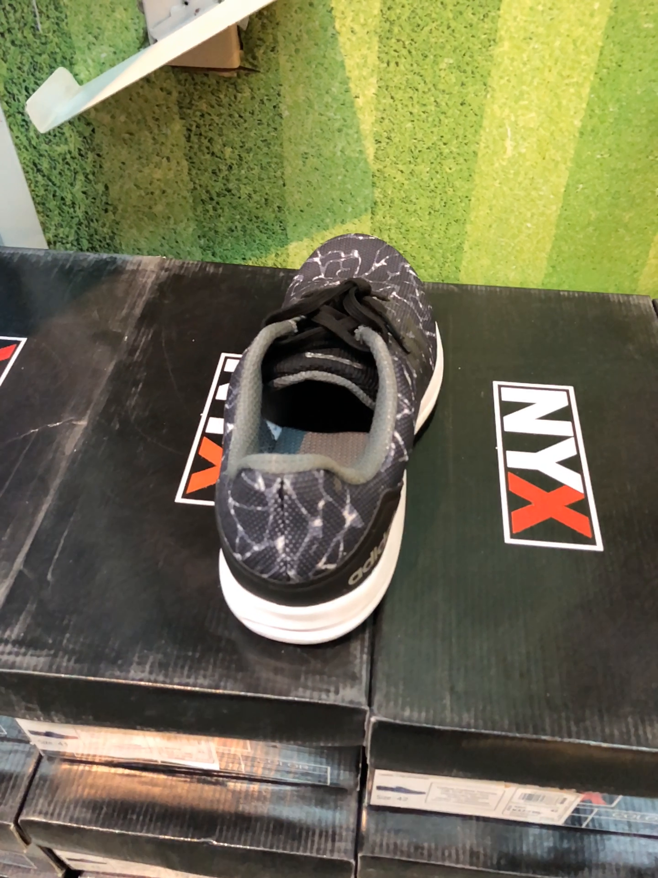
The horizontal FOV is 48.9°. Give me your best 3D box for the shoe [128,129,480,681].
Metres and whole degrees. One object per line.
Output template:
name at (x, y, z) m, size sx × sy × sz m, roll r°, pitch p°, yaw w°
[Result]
shoe at (0.010, -0.038, 0.363) m, size 0.108 × 0.121 × 0.262 m, roll 6°, pitch 46°, yaw 7°
